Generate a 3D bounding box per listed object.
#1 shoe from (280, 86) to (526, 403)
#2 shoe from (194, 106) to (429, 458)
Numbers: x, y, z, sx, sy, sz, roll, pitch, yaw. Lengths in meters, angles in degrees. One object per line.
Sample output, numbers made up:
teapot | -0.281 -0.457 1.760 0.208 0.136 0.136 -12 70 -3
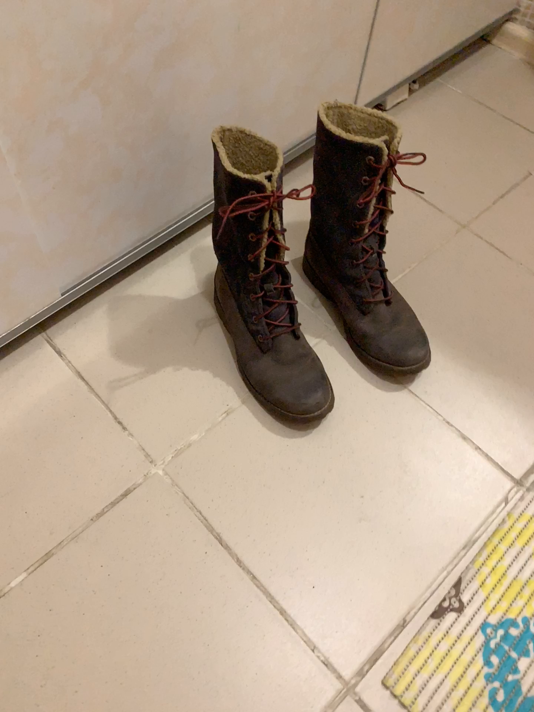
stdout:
shoe | 0.134 -0.127 0.677 0.100 0.249 0.281 -26 66 -14
shoe | 0.017 -0.076 0.606 0.100 0.249 0.281 -18 60 -19
